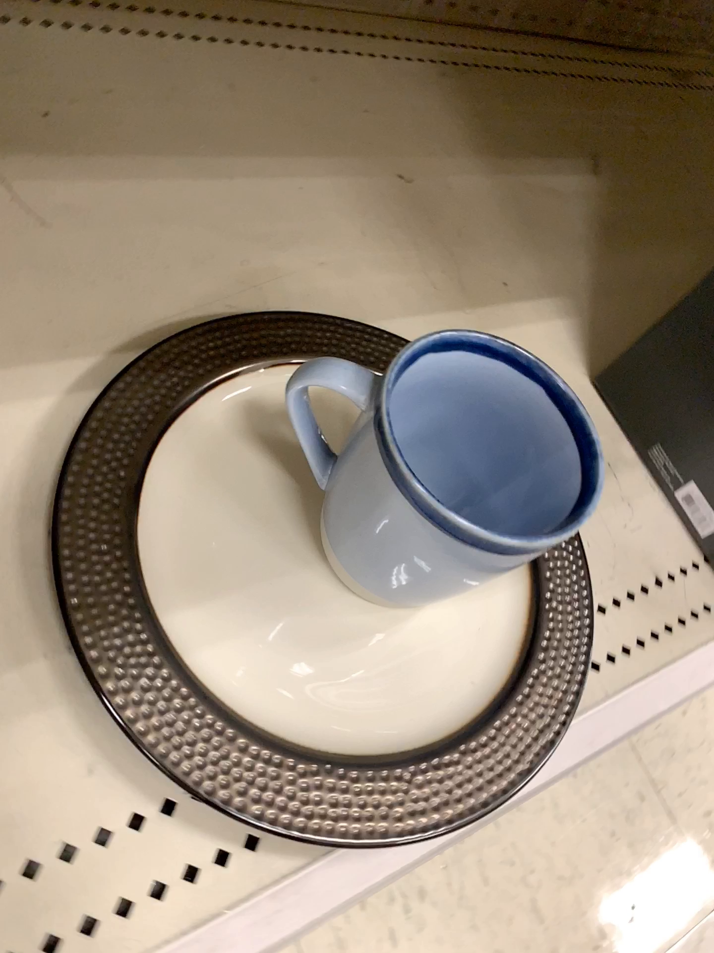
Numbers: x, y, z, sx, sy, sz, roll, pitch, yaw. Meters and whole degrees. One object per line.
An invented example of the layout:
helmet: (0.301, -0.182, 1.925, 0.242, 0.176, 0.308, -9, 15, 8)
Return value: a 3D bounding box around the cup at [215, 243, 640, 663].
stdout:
cup: (0.028, -0.004, 0.307, 0.127, 0.094, 0.094, 29, 56, -6)
